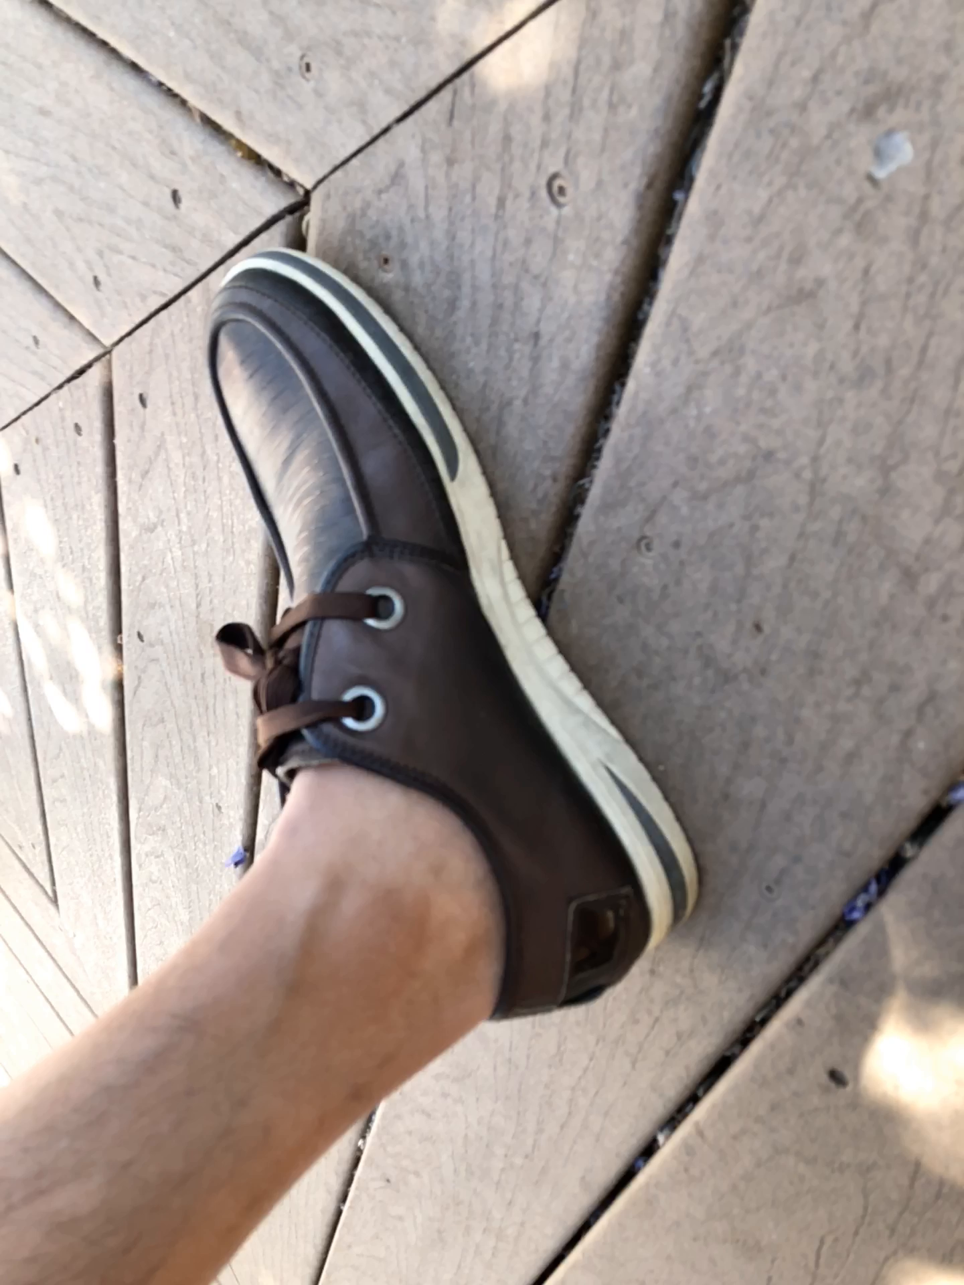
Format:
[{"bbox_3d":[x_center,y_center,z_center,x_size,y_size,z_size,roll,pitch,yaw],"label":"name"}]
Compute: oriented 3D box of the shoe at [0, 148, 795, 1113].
[{"bbox_3d":[-0.036,-0.003,0.363,0.111,0.110,0.295,-32,89,47],"label":"shoe"}]
